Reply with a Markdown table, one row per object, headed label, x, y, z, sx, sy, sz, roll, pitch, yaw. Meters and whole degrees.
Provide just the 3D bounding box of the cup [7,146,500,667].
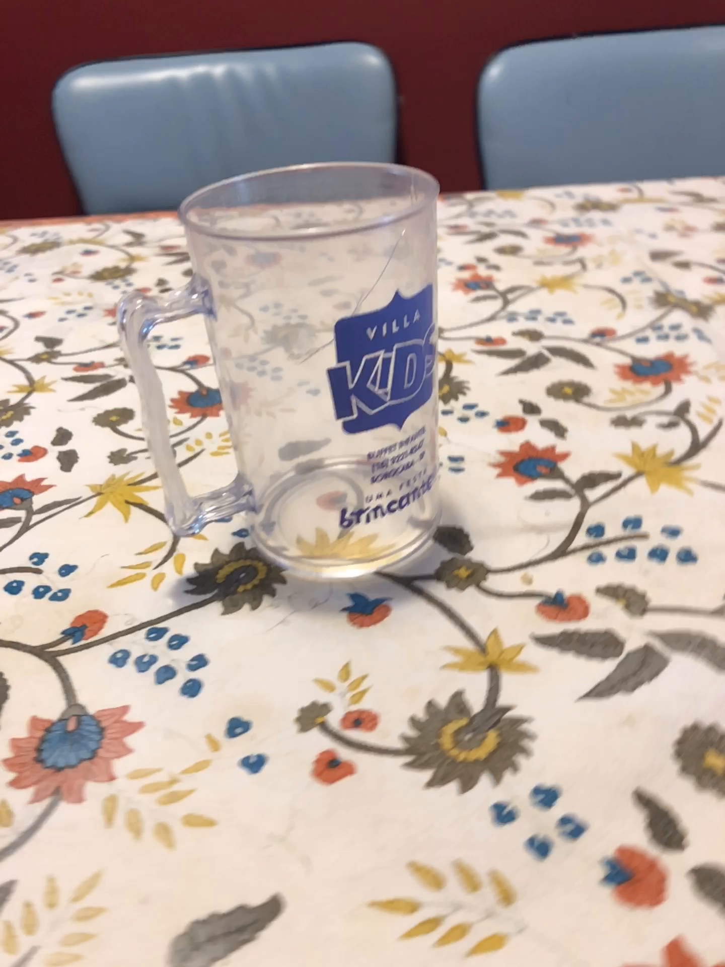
| label | x | y | z | sx | sy | sz | roll | pitch | yaw |
| --- | --- | --- | --- | --- | --- | --- | --- | --- | --- |
| cup | -0.027 | -0.031 | 0.250 | 0.110 | 0.109 | 0.080 | -23 | 37 | -25 |
